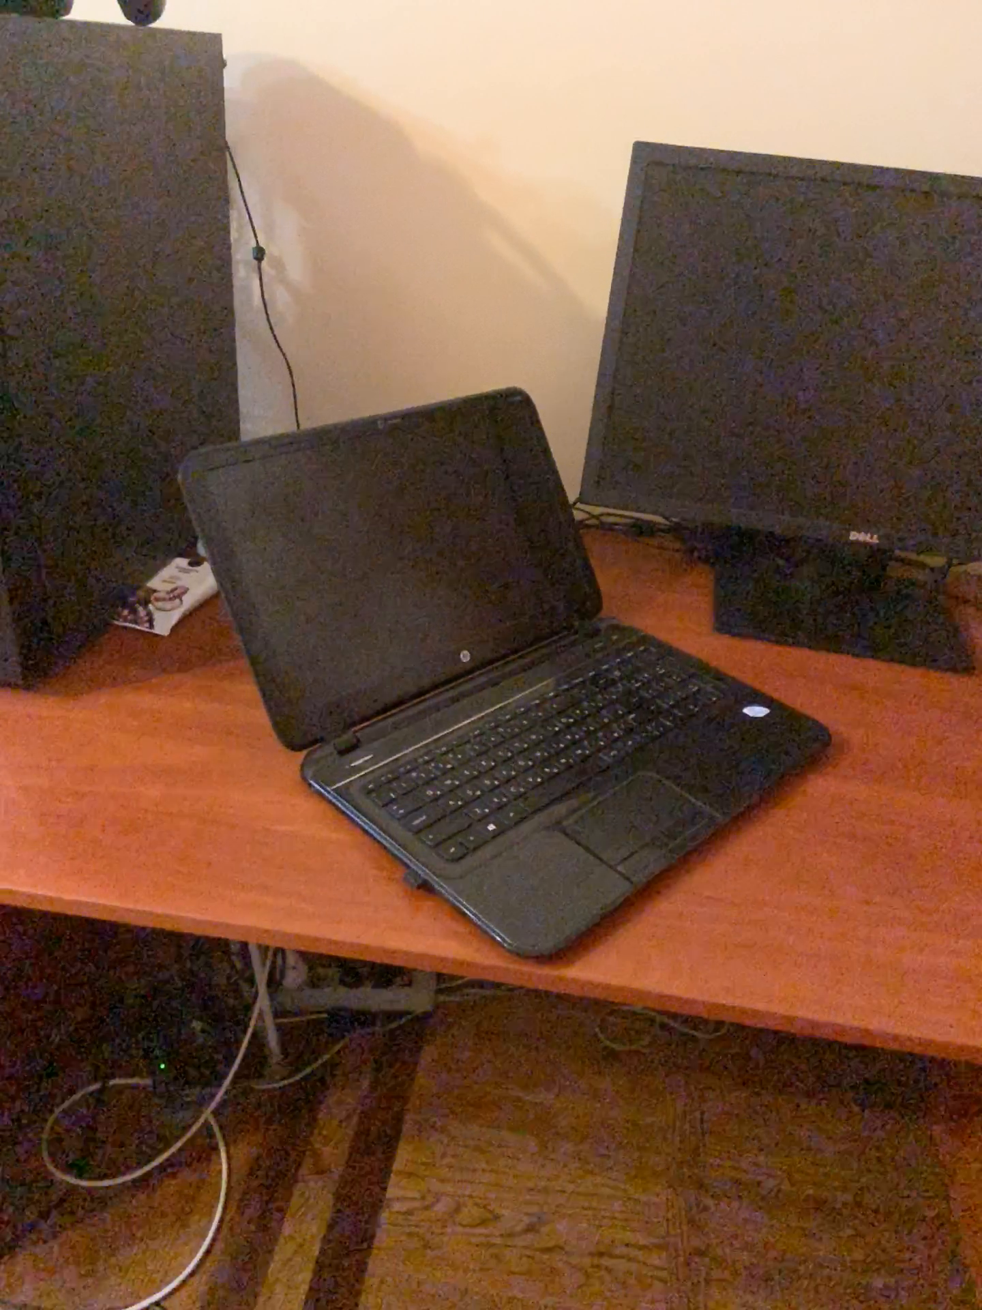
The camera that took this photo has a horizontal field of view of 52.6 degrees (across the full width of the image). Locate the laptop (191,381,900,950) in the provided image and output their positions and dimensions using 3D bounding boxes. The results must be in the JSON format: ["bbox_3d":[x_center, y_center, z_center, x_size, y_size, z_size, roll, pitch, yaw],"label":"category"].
[{"bbox_3d":[0.032,-0.039,0.722,0.332,0.168,0.359,-23,43,-39],"label":"laptop"}]
